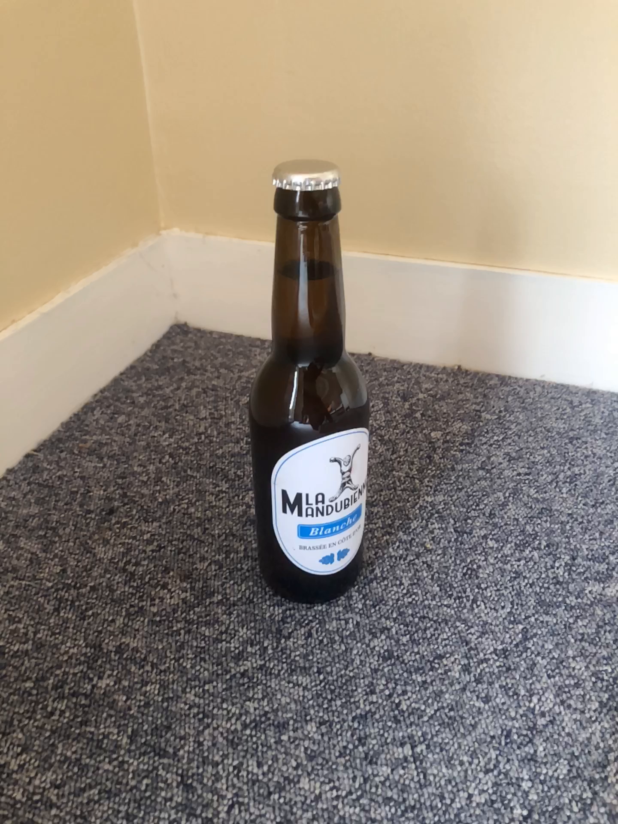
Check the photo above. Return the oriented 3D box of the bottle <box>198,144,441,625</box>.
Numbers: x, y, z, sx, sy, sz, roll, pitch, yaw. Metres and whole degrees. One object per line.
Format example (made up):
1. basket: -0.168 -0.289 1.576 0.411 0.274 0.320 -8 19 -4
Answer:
1. bottle: 0.003 -0.007 0.325 0.070 0.209 0.070 0 33 0
